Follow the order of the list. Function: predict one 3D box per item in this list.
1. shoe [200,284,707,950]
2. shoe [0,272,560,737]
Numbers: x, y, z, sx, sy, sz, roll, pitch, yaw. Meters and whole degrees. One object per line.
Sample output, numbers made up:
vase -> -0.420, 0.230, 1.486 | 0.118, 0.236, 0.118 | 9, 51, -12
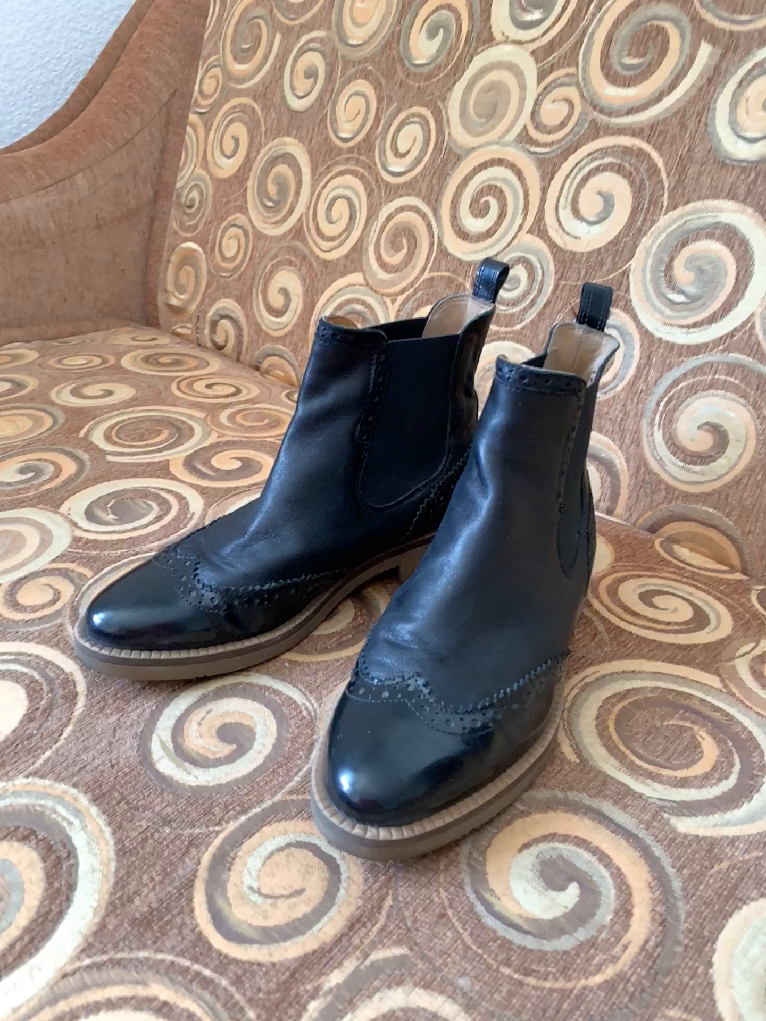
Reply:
shoe -> 0.057, 0.008, 0.357 | 0.100, 0.139, 0.291 | 16, 34, 23
shoe -> -0.044, -0.020, 0.388 | 0.240, 0.139, 0.100 | -19, 36, -29
